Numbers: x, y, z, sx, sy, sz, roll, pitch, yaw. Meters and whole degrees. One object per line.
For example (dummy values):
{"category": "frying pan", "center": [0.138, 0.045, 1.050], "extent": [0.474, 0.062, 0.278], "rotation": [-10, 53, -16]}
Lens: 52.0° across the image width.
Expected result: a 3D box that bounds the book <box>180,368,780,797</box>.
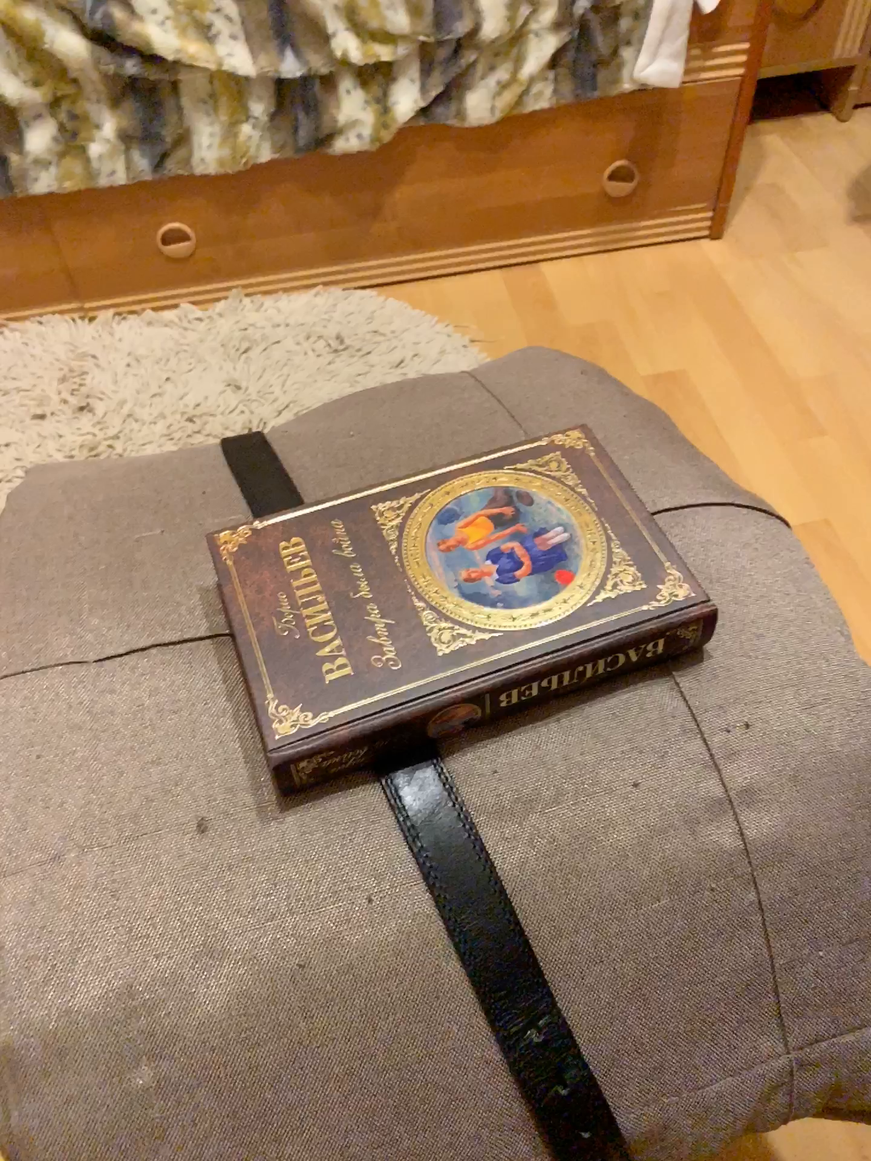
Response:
{"category": "book", "center": [0.014, -0.011, 0.402], "extent": [0.220, 0.050, 0.141], "rotation": [-16, 53, -16]}
